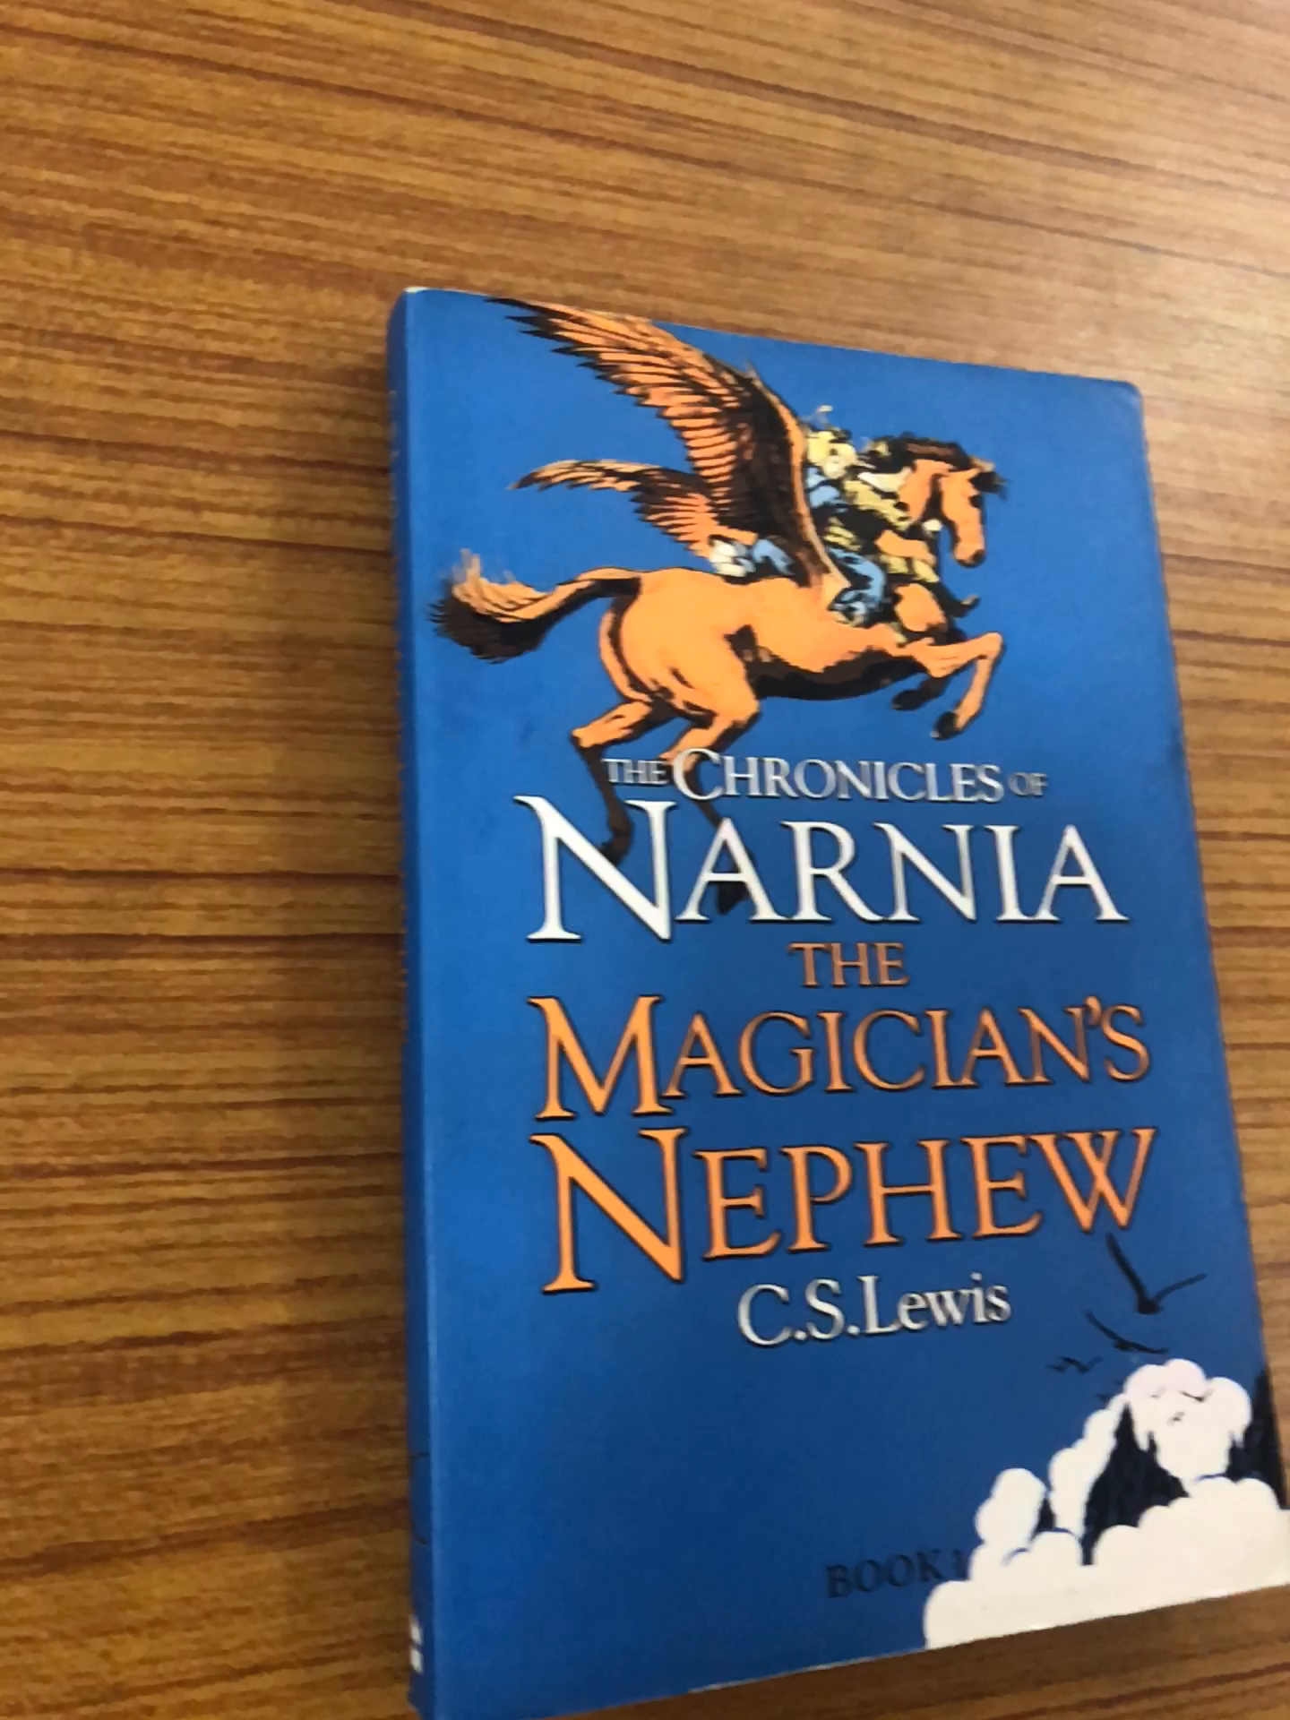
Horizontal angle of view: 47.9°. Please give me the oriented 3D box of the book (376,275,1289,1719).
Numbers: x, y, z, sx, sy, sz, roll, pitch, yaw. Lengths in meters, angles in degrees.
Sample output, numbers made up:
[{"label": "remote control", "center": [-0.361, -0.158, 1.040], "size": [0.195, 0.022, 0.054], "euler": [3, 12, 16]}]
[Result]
[{"label": "book", "center": [0.034, 0.016, 0.219], "size": [0.140, 0.030, 0.190], "euler": [1, 78, -19]}]
